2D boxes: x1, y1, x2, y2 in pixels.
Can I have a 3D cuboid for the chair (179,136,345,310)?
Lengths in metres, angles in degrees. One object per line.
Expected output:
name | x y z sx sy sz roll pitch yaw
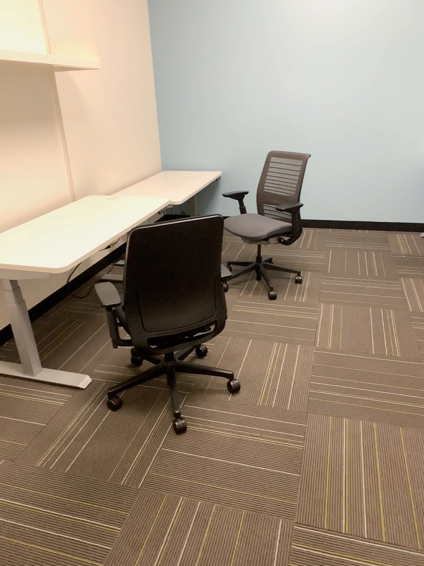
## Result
chair | 0.333 -0.515 3.209 0.770 0.994 0.895 -15 26 -28

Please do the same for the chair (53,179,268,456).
chair | -0.246 0.075 2.058 0.680 0.935 0.774 -15 26 -26
